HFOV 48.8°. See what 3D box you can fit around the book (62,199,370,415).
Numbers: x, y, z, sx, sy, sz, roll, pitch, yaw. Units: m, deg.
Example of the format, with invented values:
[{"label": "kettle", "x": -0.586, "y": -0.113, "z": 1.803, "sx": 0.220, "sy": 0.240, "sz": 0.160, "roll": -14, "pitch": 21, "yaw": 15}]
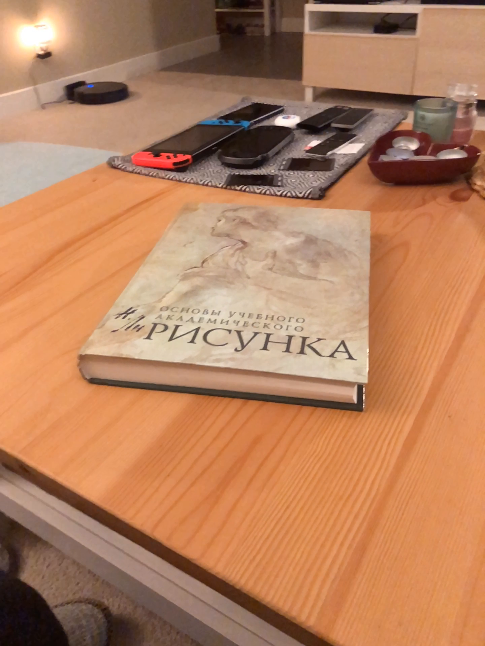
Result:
[{"label": "book", "x": 0.003, "y": -0.038, "z": 0.479, "sx": 0.214, "sy": 0.030, "sz": 0.273, "roll": 5, "pitch": 36, "yaw": 9}]
